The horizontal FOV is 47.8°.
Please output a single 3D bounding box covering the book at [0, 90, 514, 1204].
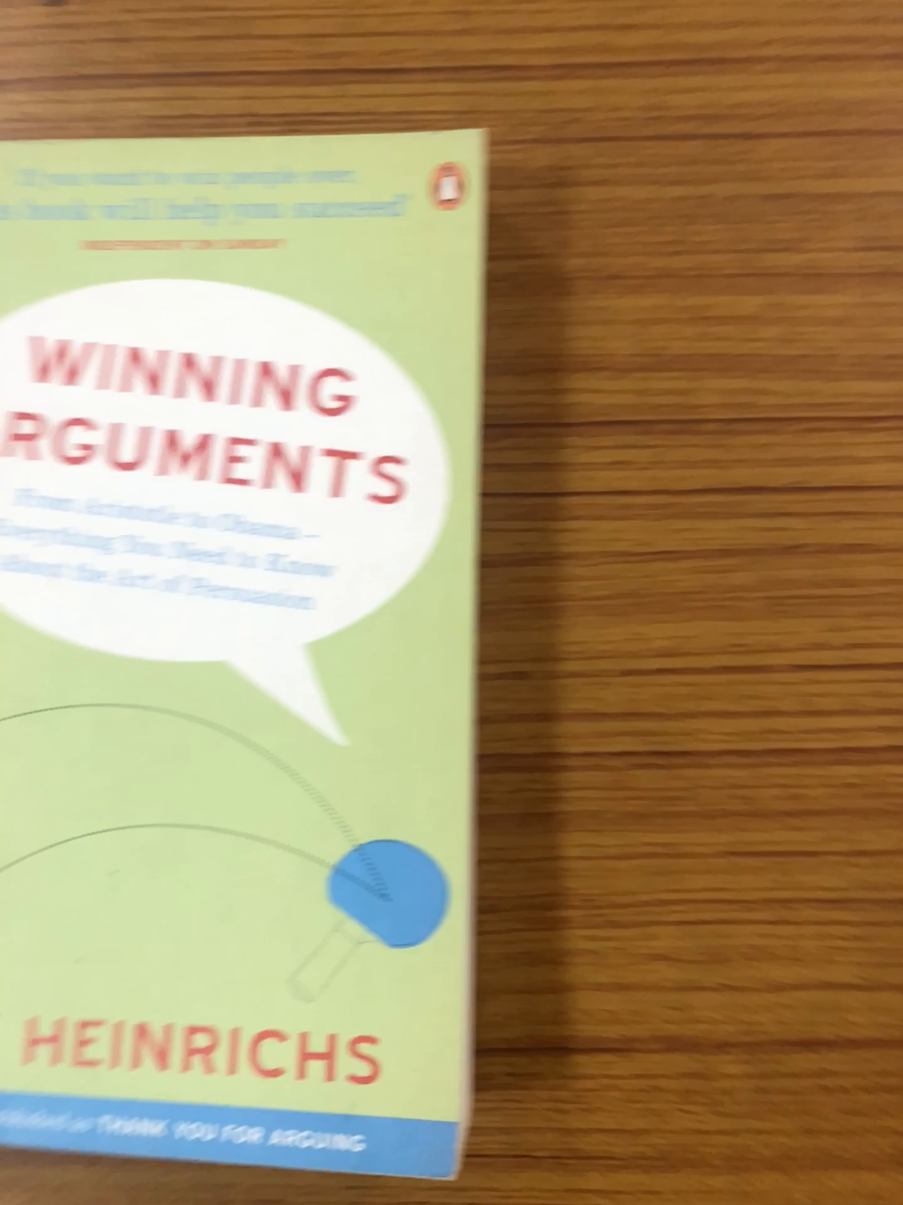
[{"bbox_3d":[-0.060,0.004,0.207,0.140,0.030,0.210,1,84,3],"label":"book"}]
